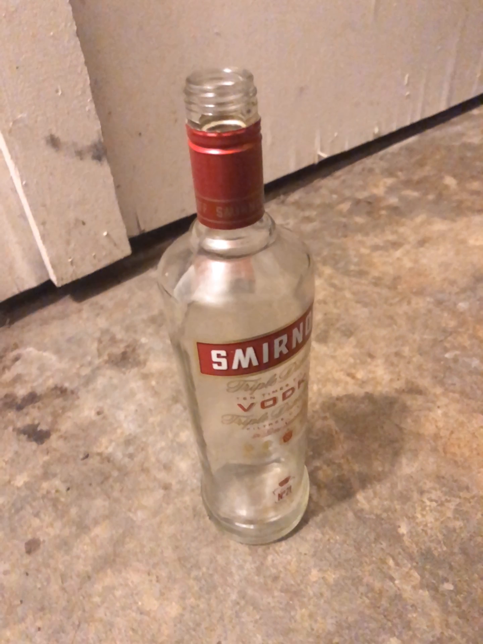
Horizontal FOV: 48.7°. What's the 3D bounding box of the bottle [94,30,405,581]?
[{"bbox_3d":[0.007,0.020,0.283,0.080,0.288,0.080,-2,42,2],"label":"bottle"}]
